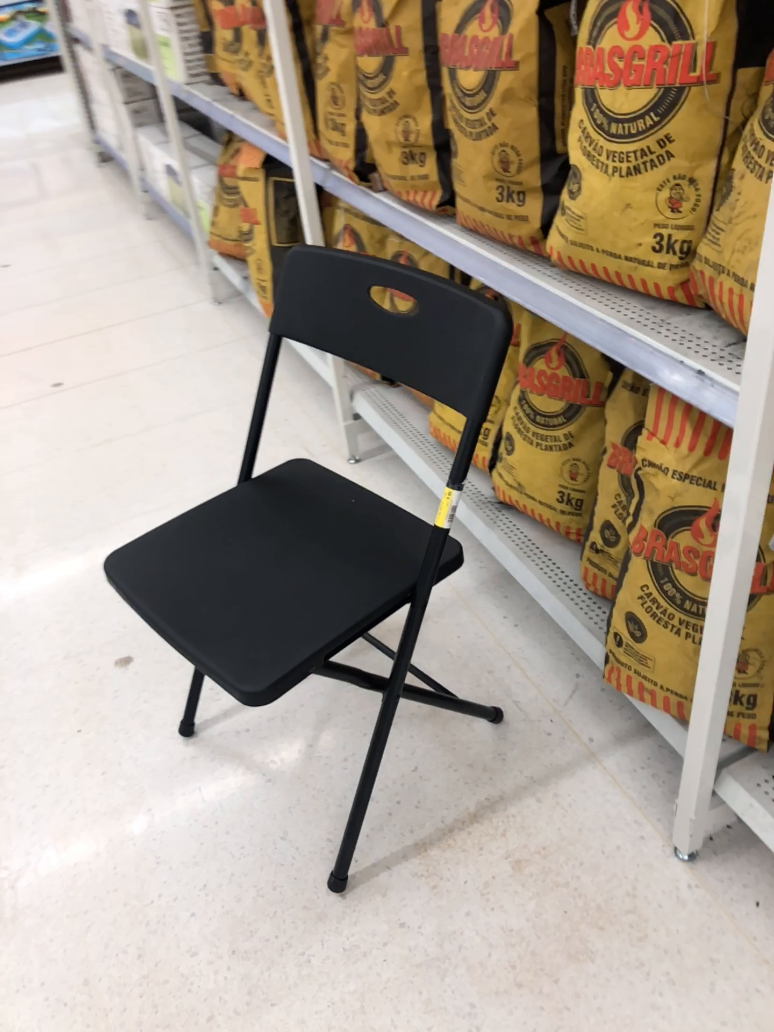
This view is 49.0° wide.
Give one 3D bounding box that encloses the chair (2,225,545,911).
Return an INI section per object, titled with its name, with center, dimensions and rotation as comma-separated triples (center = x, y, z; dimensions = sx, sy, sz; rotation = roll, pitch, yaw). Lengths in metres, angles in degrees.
[chair]
center = -0.104, 0.053, 1.197
dimensions = 0.451, 0.715, 0.462
rotation = -33, 43, -30
